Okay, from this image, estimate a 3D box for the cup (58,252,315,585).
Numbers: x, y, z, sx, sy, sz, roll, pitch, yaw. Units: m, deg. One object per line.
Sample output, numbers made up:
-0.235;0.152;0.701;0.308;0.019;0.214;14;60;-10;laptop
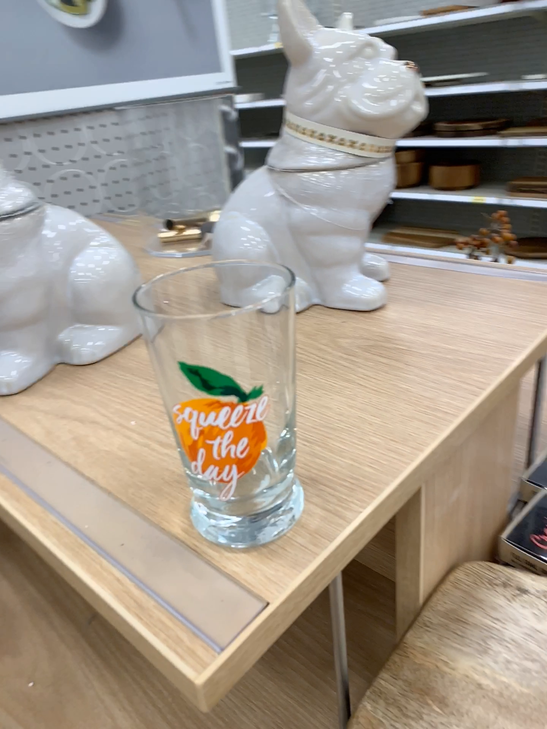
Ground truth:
-0.027;0.023;0.254;0.080;0.119;0.080;-6;27;3;cup
